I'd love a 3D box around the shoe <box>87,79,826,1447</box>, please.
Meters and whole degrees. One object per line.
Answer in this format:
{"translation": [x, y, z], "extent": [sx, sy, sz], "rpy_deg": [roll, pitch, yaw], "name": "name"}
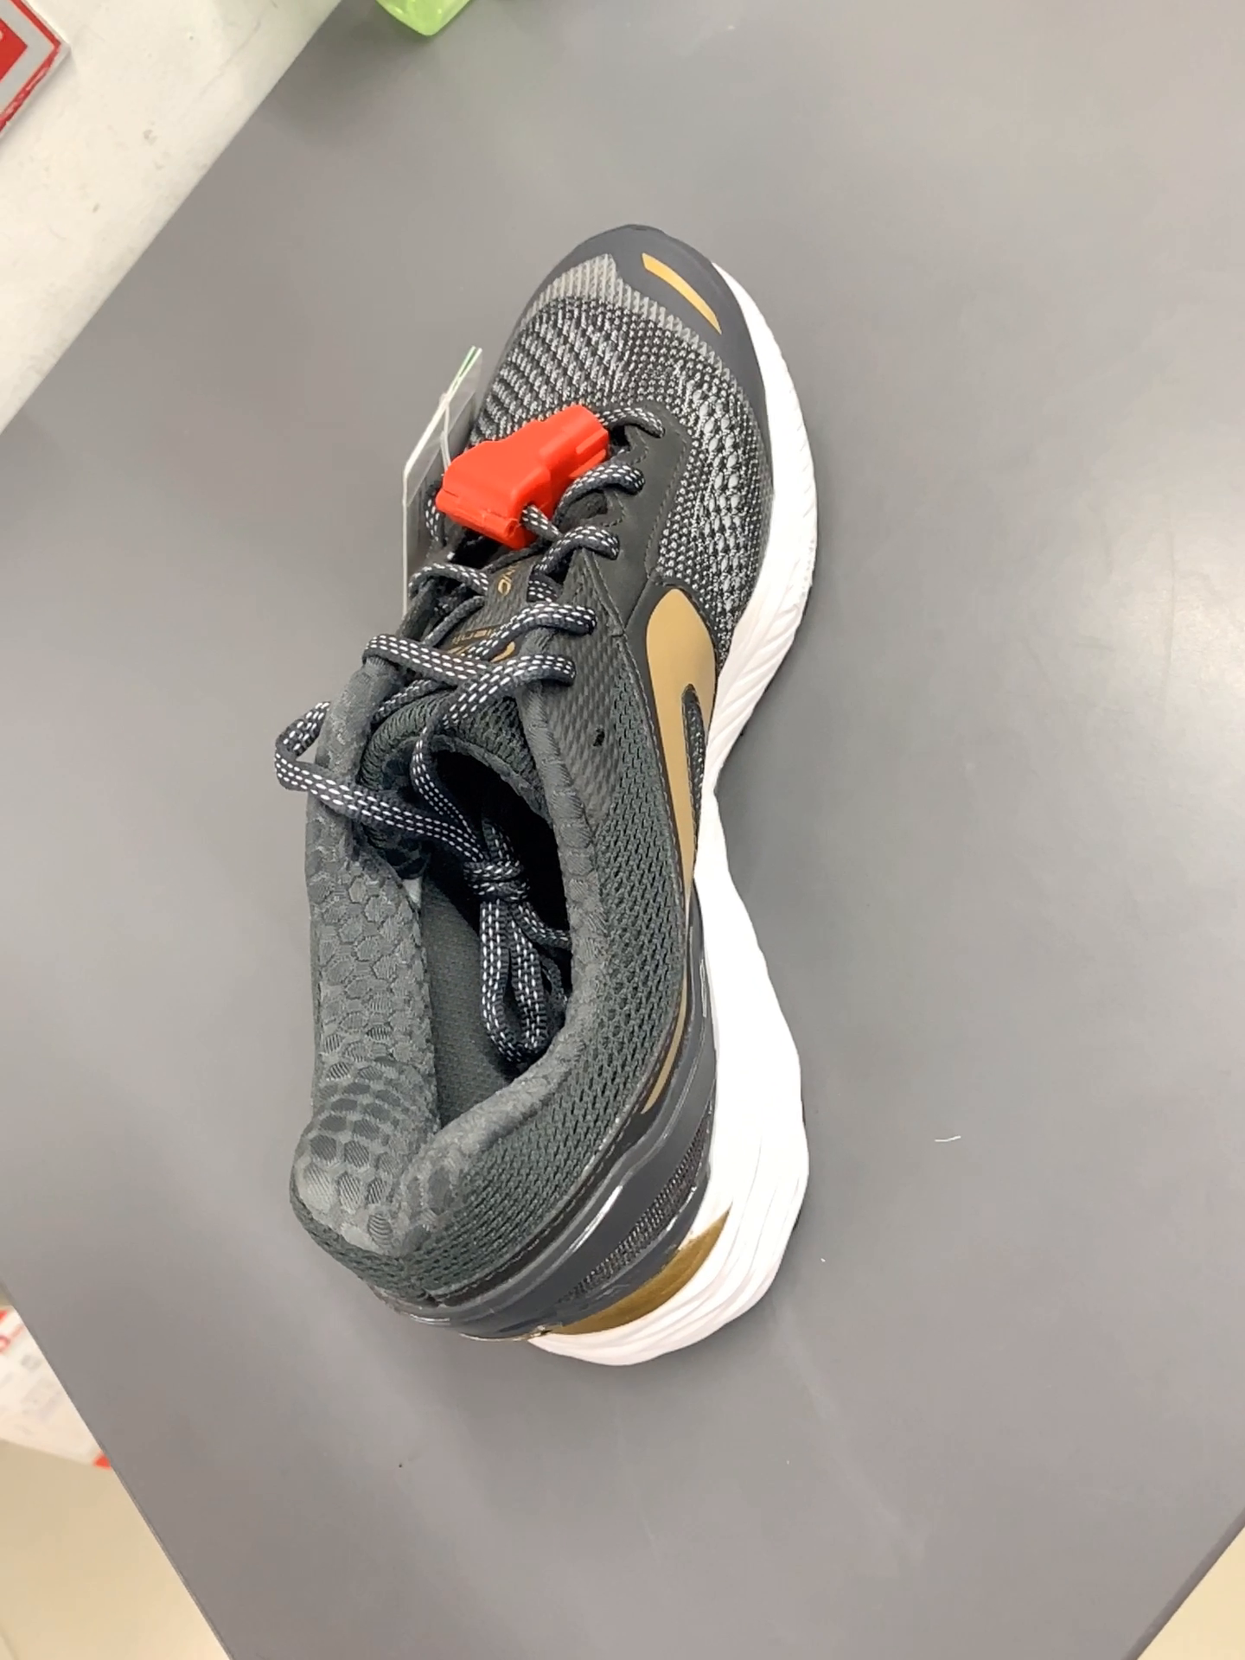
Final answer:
{"translation": [-0.019, -0.013, 0.270], "extent": [0.100, 0.090, 0.240], "rpy_deg": [-4, 71, 23], "name": "shoe"}
